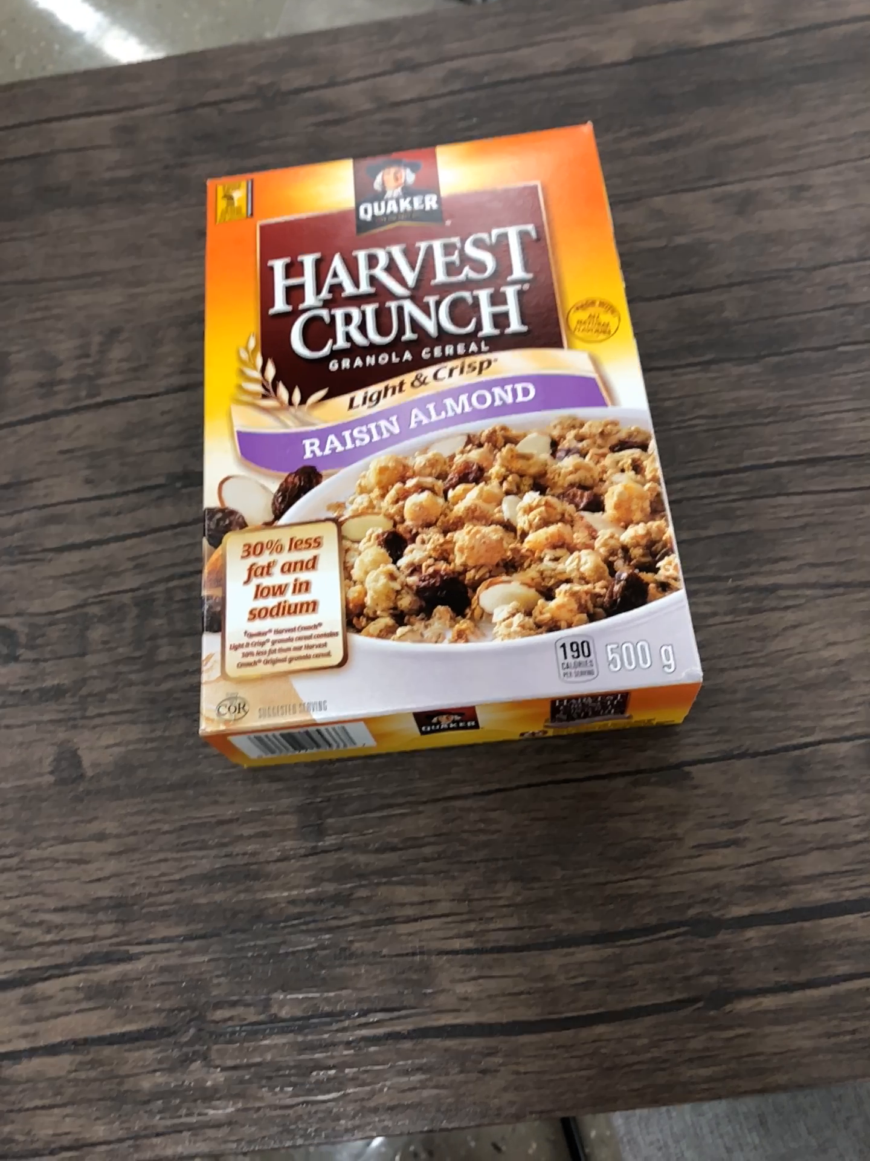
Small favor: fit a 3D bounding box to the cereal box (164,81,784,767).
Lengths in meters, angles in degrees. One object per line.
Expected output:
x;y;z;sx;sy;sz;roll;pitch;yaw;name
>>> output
0.003;-0.061;0.347;0.180;0.050;0.230;-6;67;3;cereal box
